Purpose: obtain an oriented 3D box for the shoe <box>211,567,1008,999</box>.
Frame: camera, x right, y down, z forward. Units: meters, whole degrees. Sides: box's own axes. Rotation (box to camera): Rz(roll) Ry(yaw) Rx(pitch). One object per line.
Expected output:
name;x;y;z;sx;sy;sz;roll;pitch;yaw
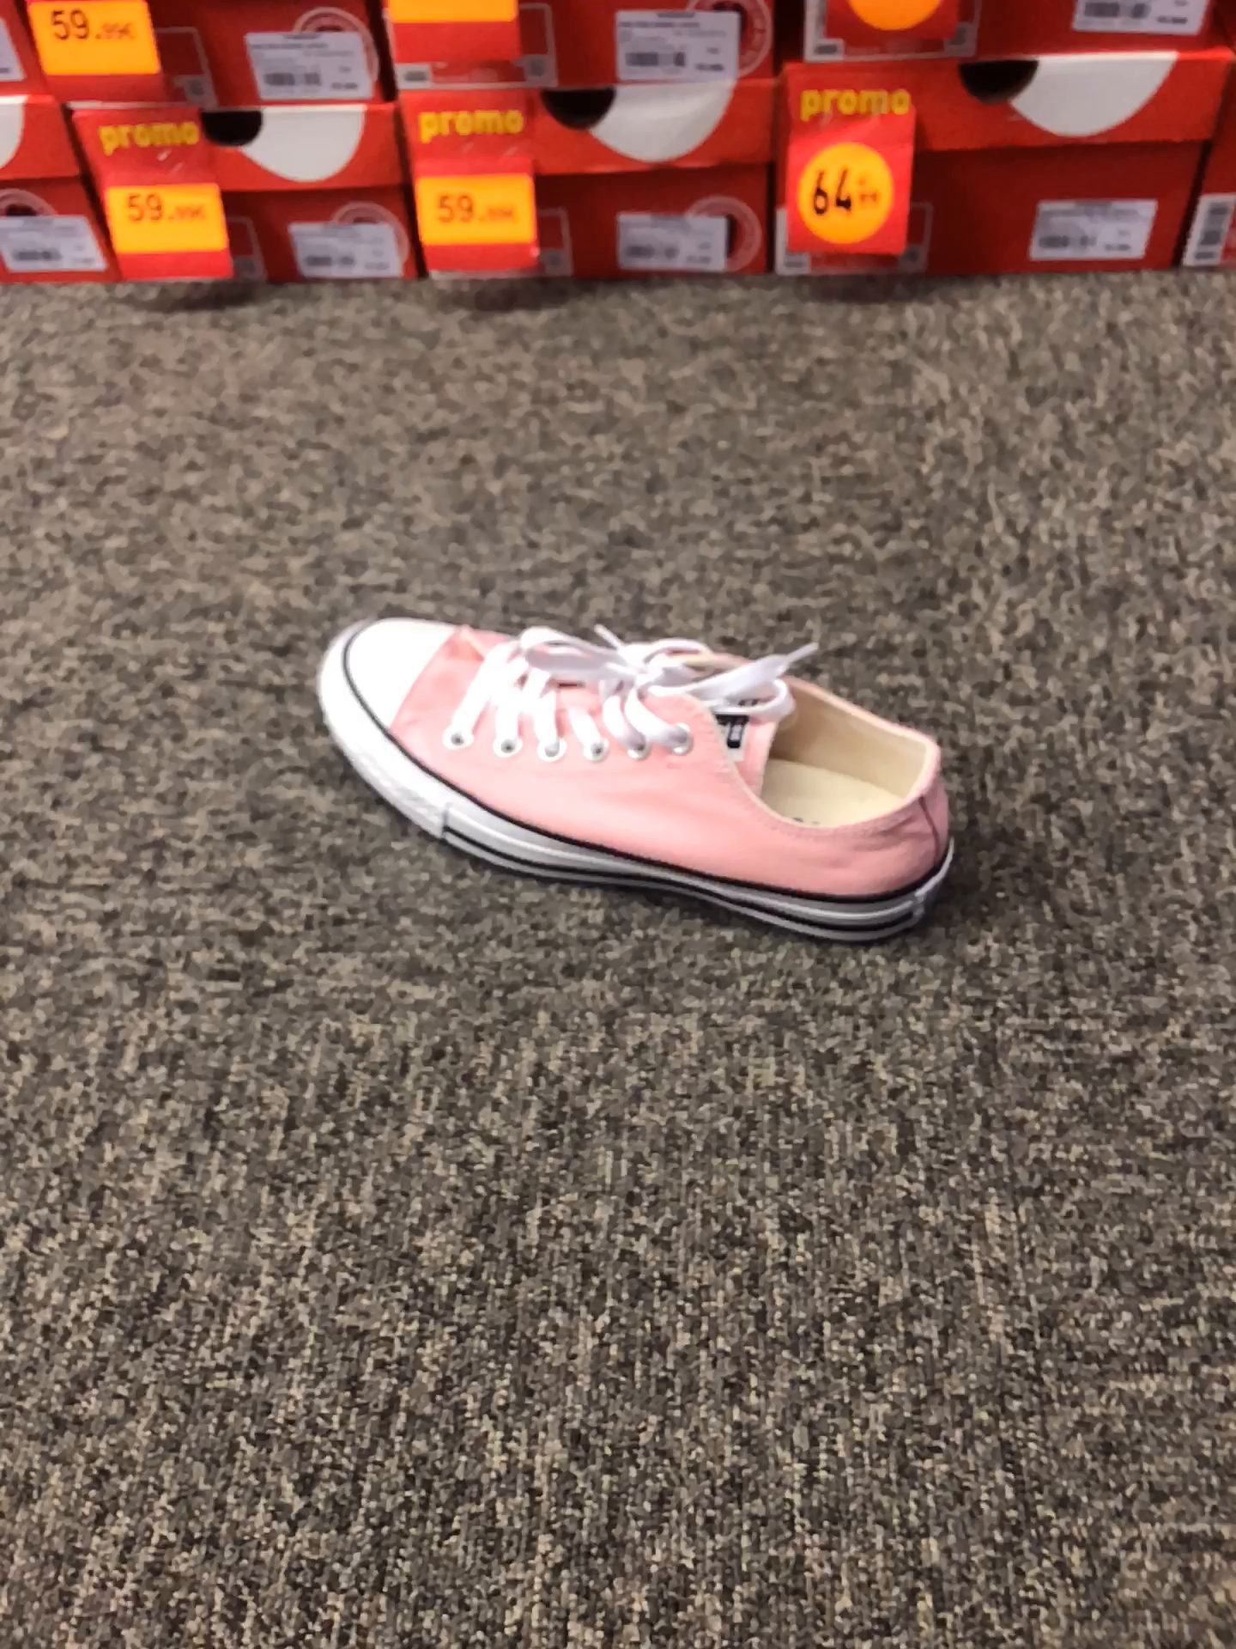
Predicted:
shoe;-0.005;-0.025;0.527;0.280;0.060;0.101;13;53;20
